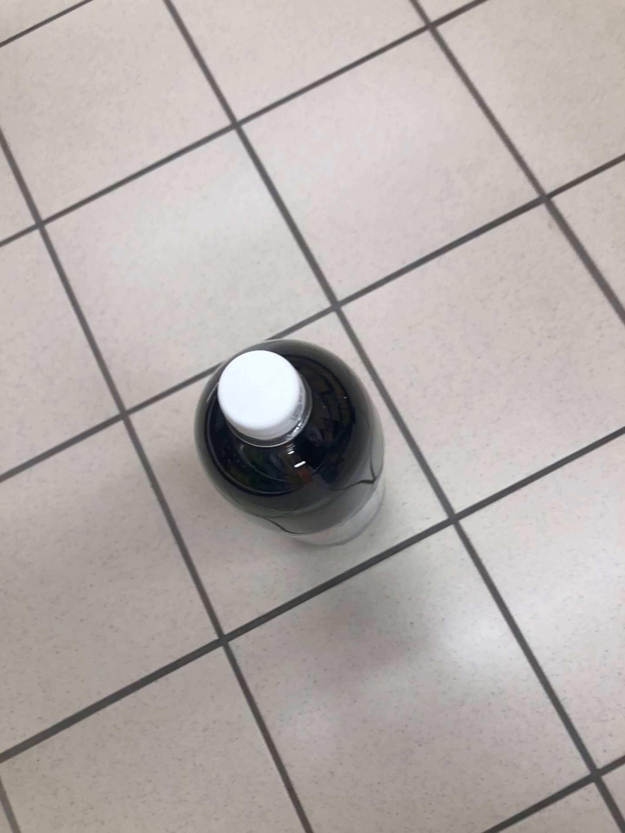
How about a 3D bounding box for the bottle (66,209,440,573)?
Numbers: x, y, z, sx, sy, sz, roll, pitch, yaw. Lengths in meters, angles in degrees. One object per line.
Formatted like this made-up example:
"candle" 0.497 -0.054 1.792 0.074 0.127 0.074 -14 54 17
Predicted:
"bottle" -0.006 0.022 0.400 0.100 0.320 0.090 34 82 12
